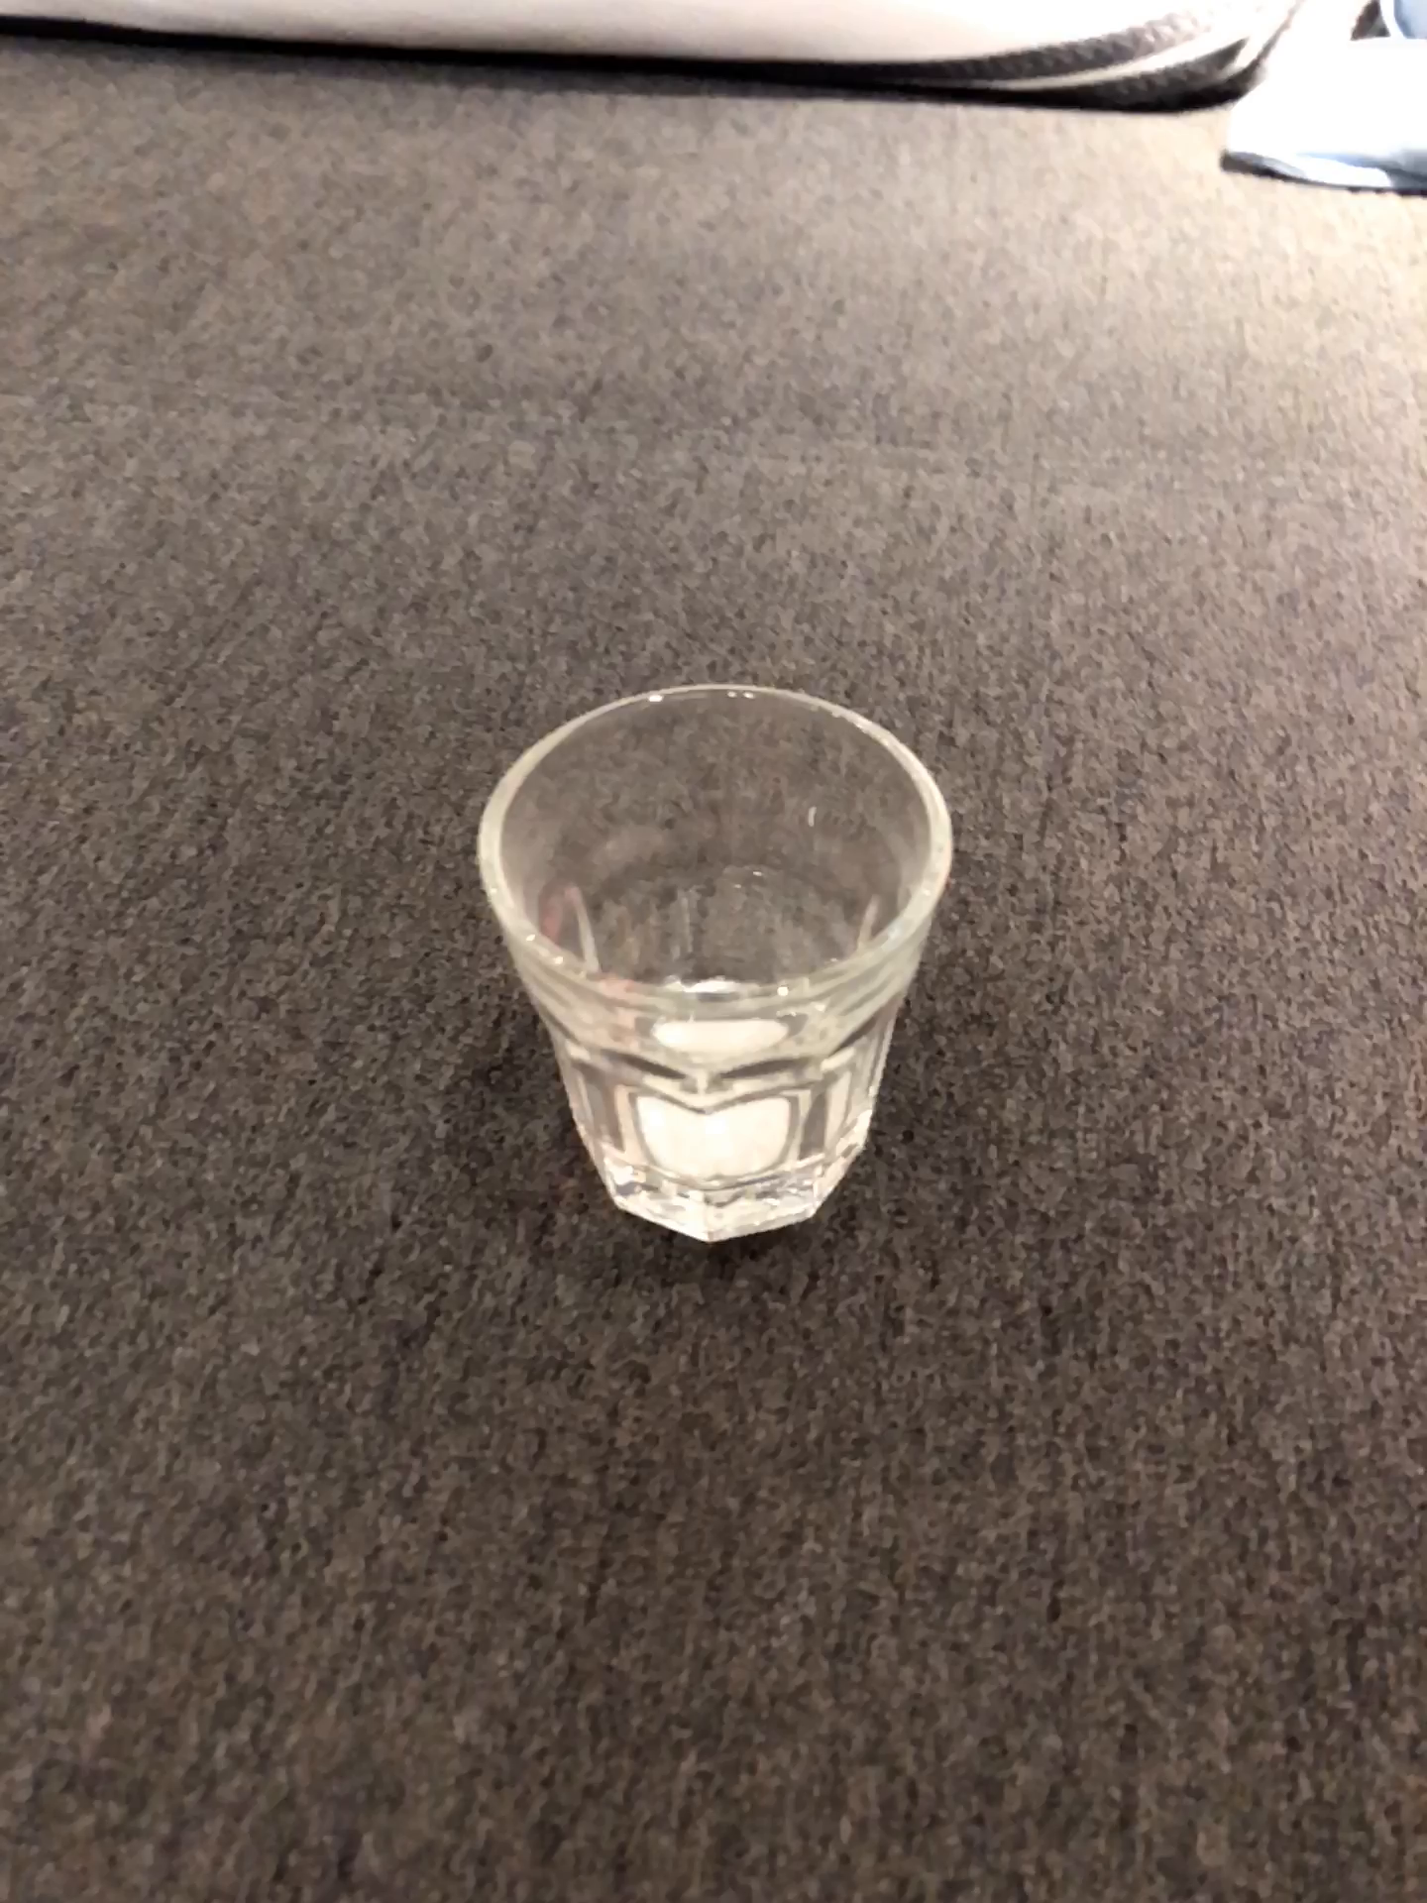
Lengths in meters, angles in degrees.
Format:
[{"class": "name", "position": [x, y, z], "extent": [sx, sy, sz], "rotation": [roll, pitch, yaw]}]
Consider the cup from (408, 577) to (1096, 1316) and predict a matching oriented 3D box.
[{"class": "cup", "position": [0.001, -0.003, 0.186], "extent": [0.060, 0.050, 0.060], "rotation": [0, 44, 0]}]
